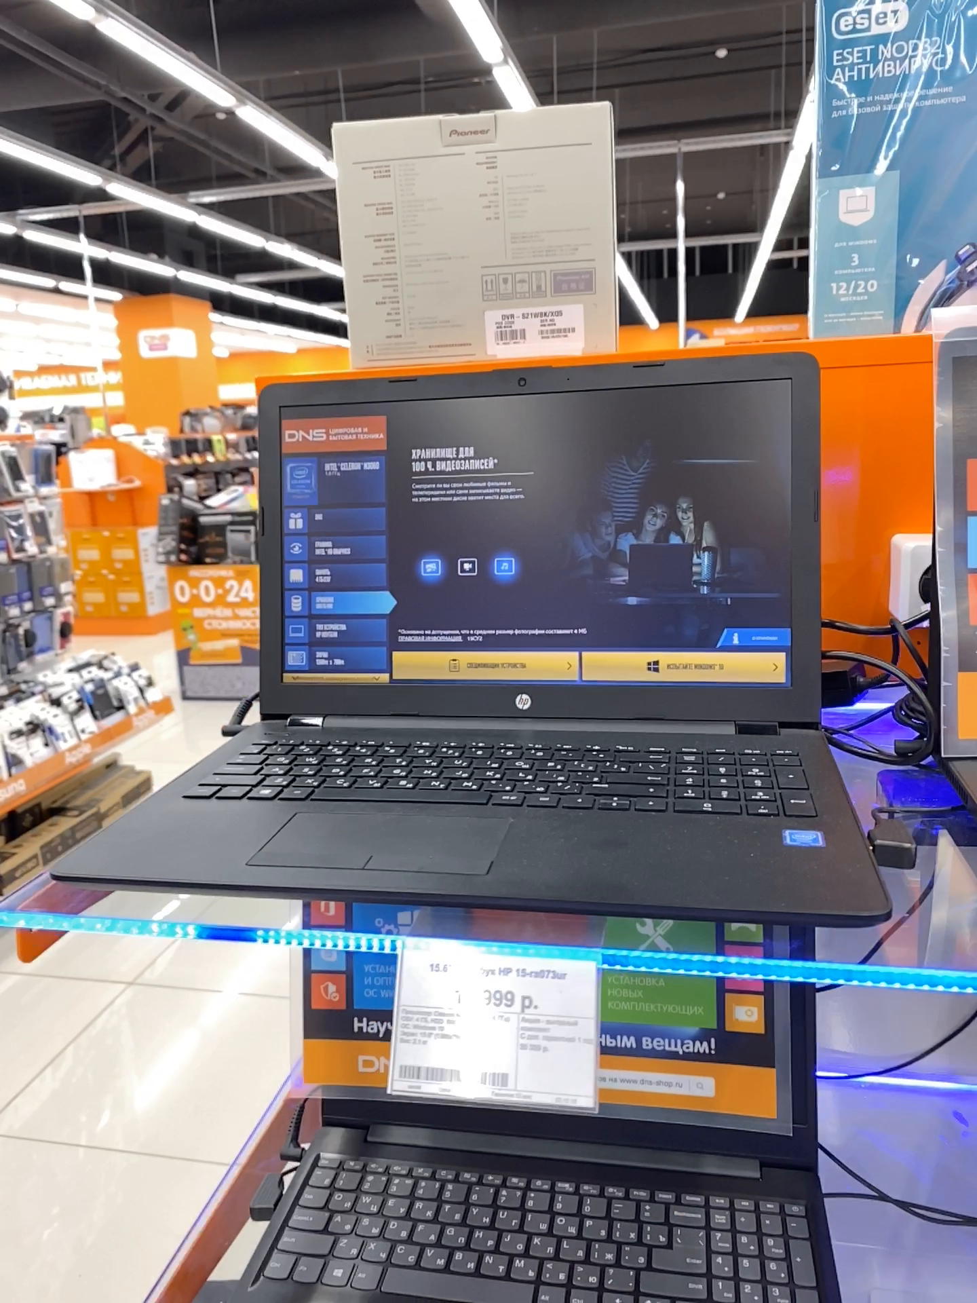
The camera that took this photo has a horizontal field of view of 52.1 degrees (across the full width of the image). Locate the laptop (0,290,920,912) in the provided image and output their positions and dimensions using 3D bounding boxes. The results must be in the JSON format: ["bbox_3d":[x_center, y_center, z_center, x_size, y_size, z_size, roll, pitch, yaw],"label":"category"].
[{"bbox_3d":[-0.003,-0.047,0.575,0.388,0.236,0.323,0,12,12],"label":"laptop"}]
